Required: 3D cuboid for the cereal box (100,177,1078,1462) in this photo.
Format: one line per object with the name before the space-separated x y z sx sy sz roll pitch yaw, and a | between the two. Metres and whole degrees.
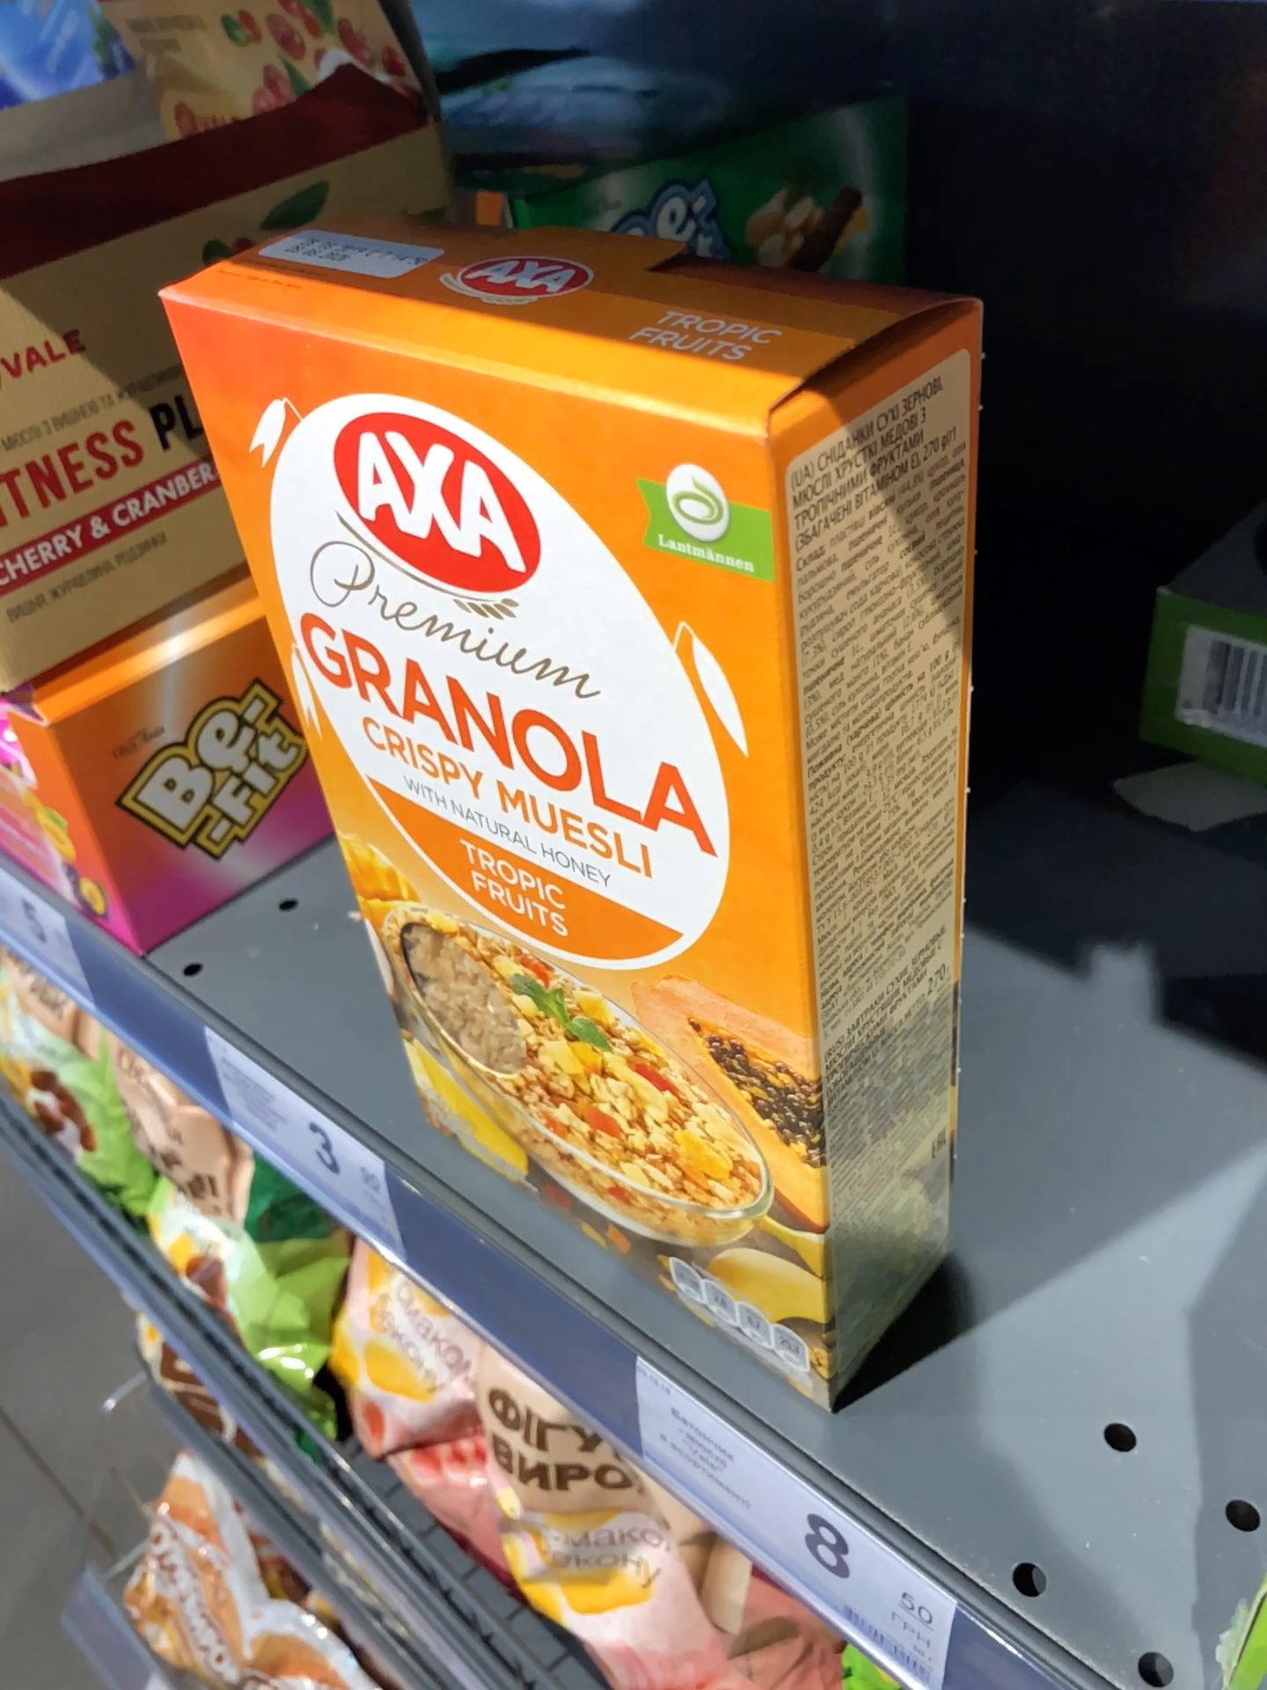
cereal box | -0.003 0.001 0.262 0.140 0.208 0.050 25 50 35
